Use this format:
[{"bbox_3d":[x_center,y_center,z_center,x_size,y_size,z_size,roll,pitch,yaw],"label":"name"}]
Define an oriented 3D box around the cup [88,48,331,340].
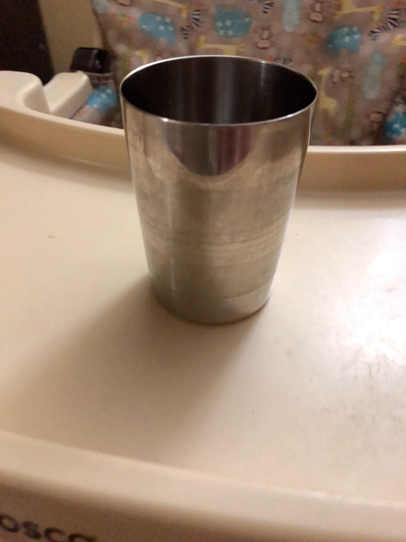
[{"bbox_3d":[0.008,-0.034,0.196,0.073,0.090,0.073,0,42,0],"label":"cup"}]
